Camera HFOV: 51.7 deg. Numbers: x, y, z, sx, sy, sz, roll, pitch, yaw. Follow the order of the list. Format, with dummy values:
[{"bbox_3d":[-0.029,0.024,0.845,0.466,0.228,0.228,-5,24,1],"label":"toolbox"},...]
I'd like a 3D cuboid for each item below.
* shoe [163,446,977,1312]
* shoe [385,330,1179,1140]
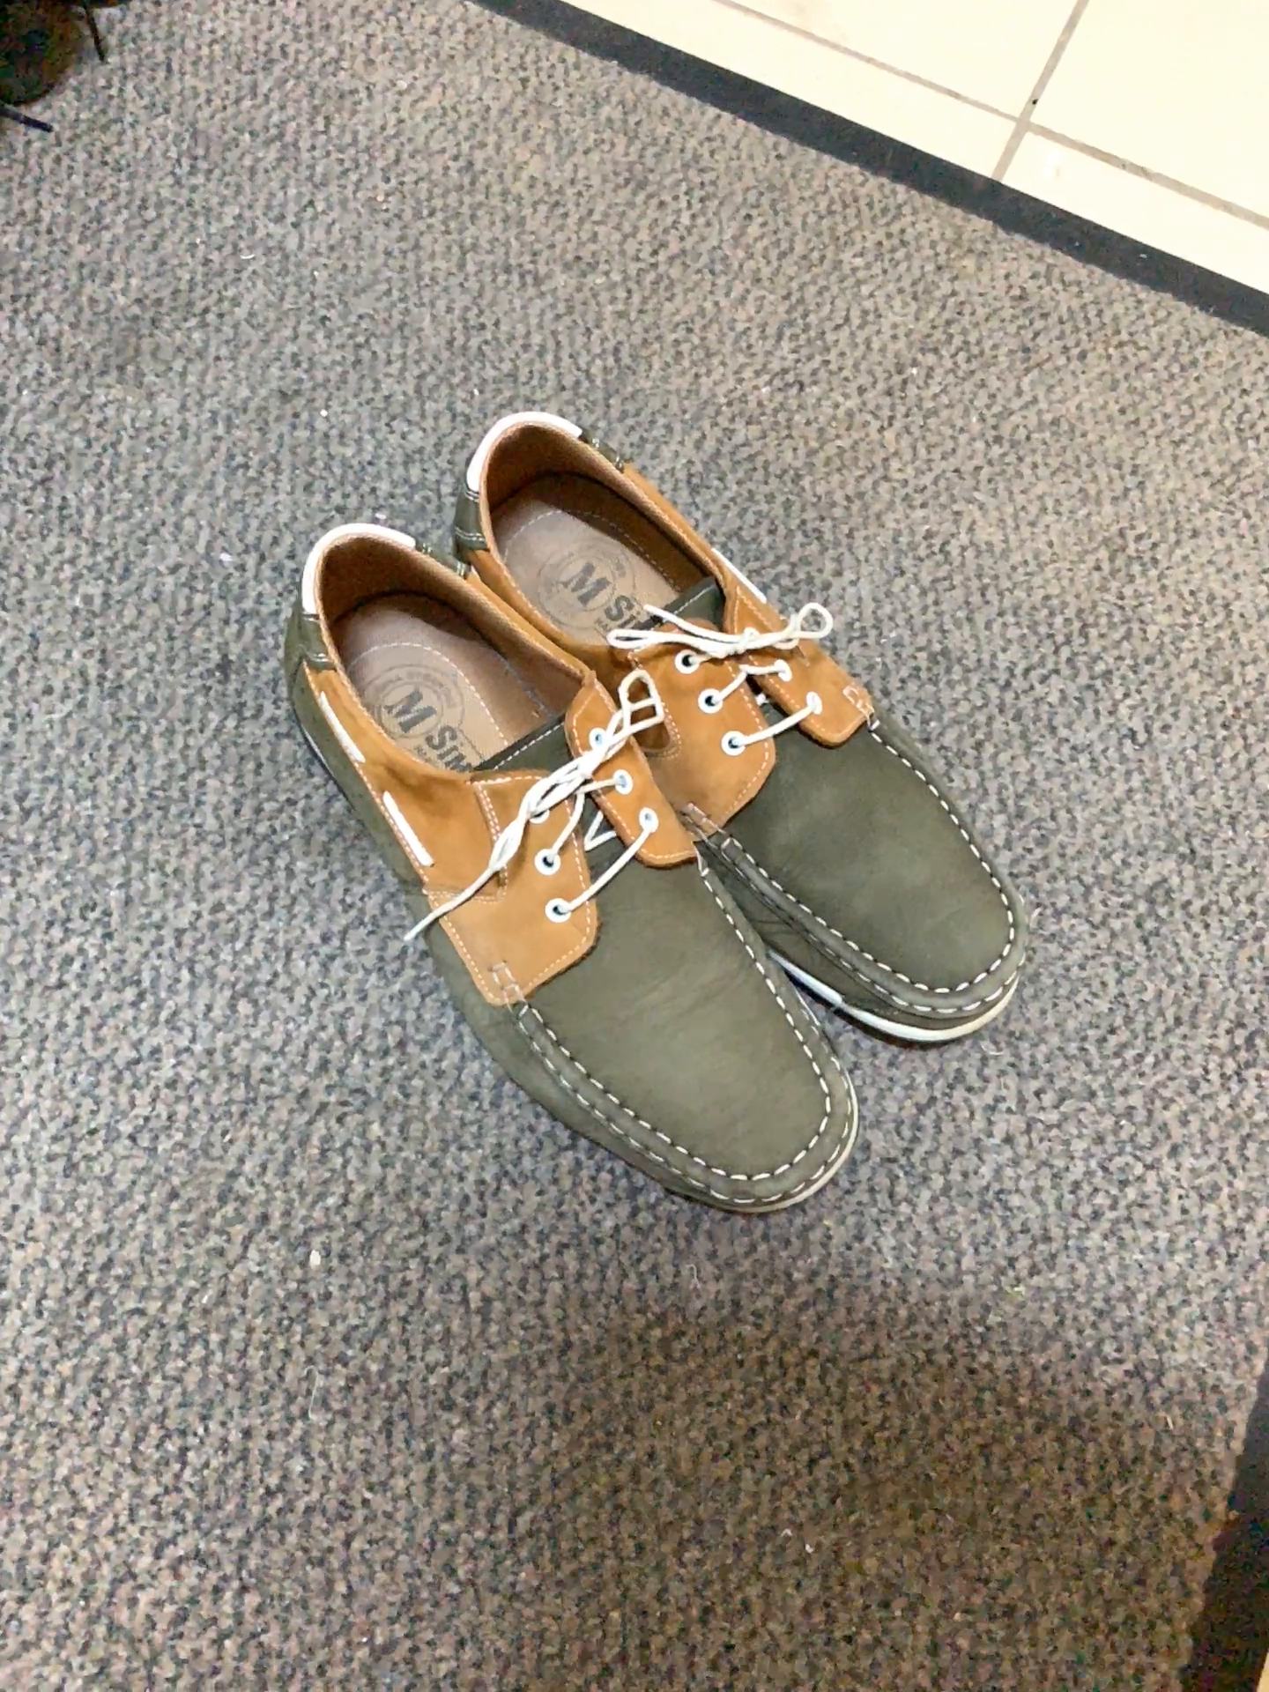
[{"bbox_3d":[-0.029,0.017,0.463,0.107,0.130,0.270,-36,77,-16],"label":"shoe"},{"bbox_3d":[0.040,-0.036,0.494,0.107,0.130,0.270,-40,78,-16],"label":"shoe"}]
